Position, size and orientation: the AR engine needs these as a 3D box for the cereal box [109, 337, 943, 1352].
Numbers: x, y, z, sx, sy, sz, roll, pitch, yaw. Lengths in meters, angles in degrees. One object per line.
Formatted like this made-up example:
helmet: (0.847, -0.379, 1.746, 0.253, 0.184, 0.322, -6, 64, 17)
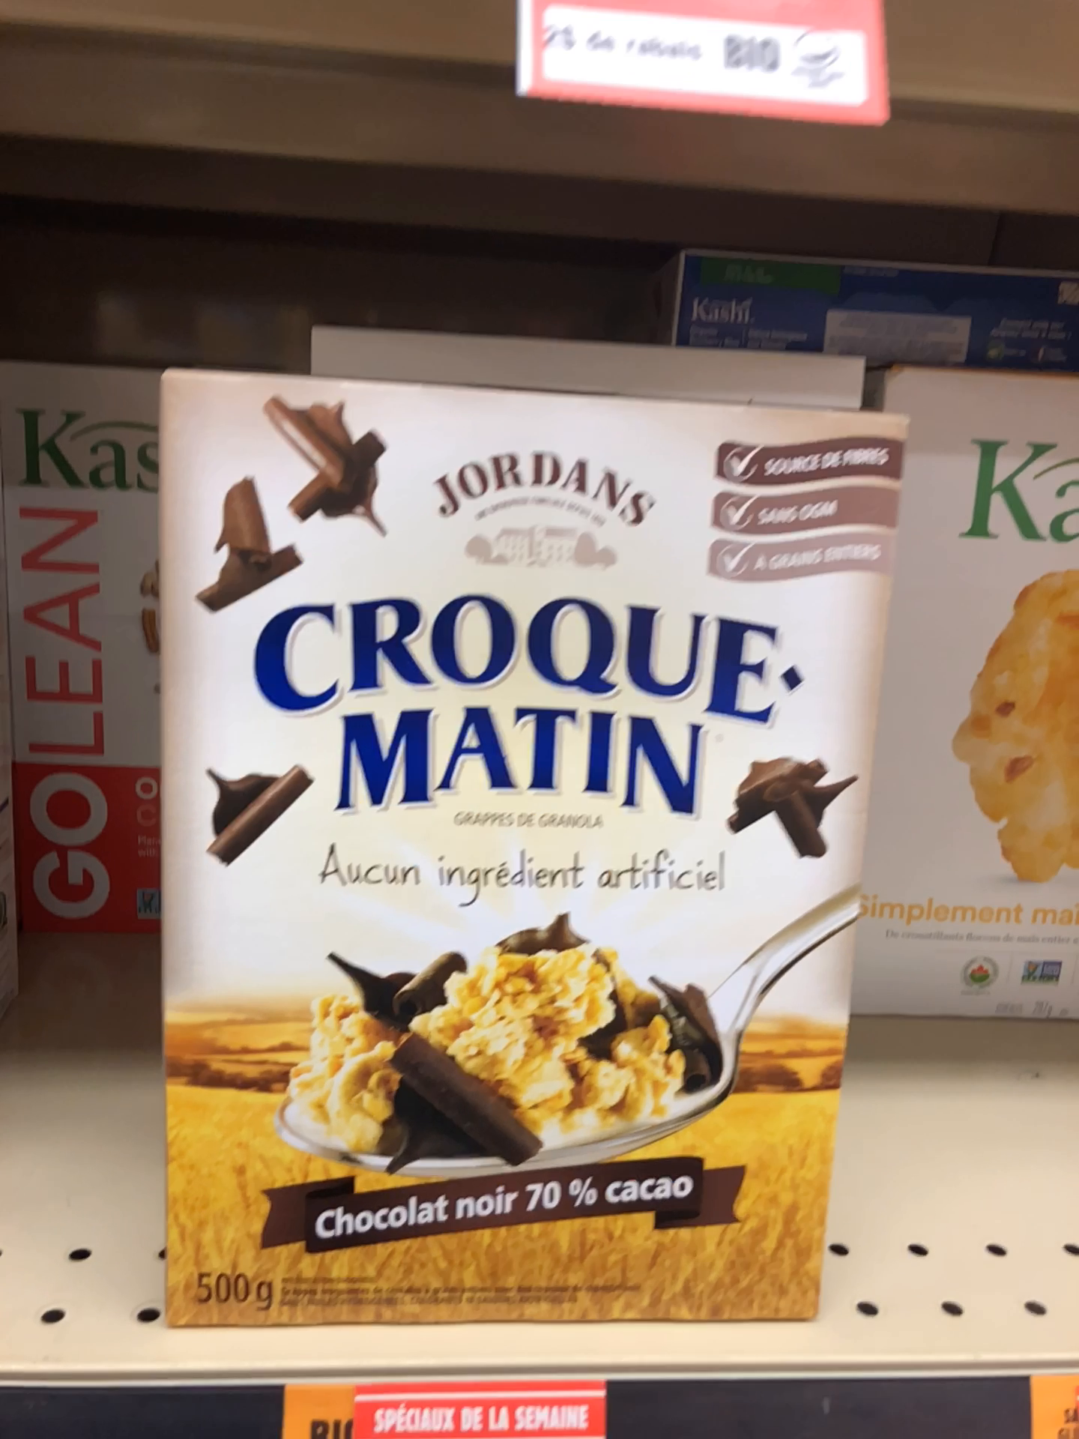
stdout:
cereal box: (-0.008, 0.037, 0.316, 0.190, 0.249, 0.050, 2, 10, -5)
